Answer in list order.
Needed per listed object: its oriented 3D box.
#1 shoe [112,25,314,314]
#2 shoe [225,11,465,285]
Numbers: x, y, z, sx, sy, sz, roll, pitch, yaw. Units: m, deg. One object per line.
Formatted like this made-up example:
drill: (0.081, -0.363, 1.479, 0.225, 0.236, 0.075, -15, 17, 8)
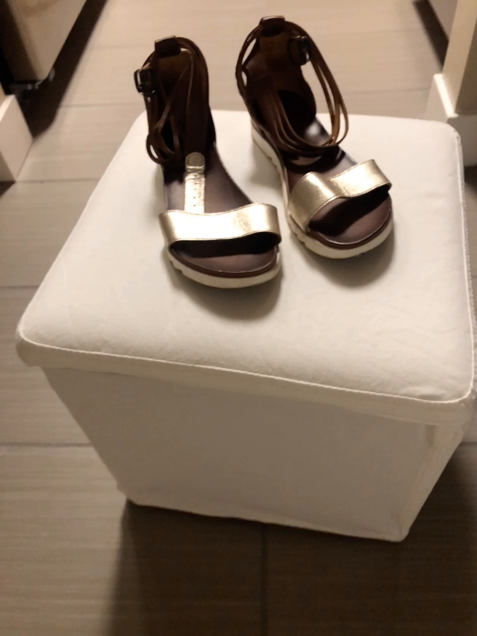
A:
shoe: (-0.031, -0.142, 0.460, 0.110, 0.090, 0.261, -14, 52, -5)
shoe: (0.075, -0.165, 0.475, 0.110, 0.090, 0.261, -14, 52, -5)
